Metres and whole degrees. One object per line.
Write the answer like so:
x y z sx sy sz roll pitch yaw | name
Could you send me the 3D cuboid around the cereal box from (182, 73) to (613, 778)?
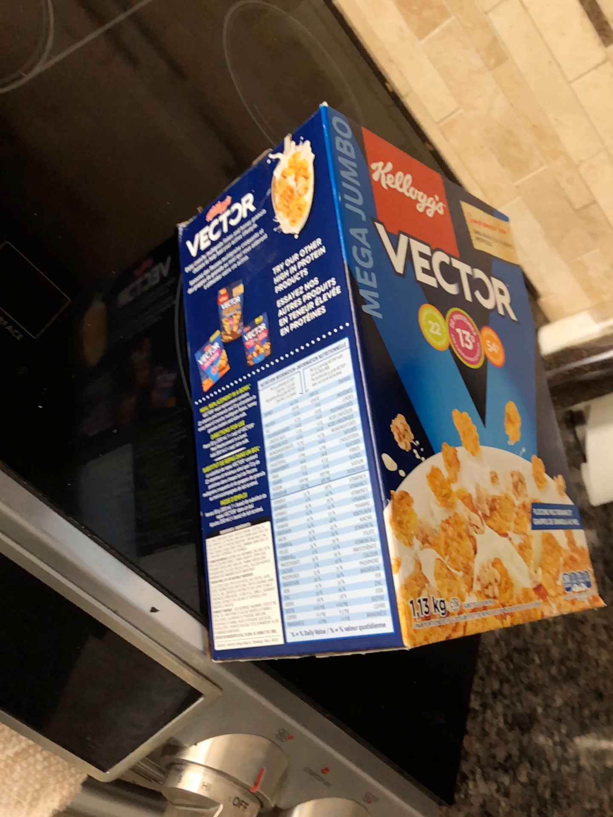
0.067 0.021 0.425 0.221 0.169 0.310 10 70 -45 | cereal box
